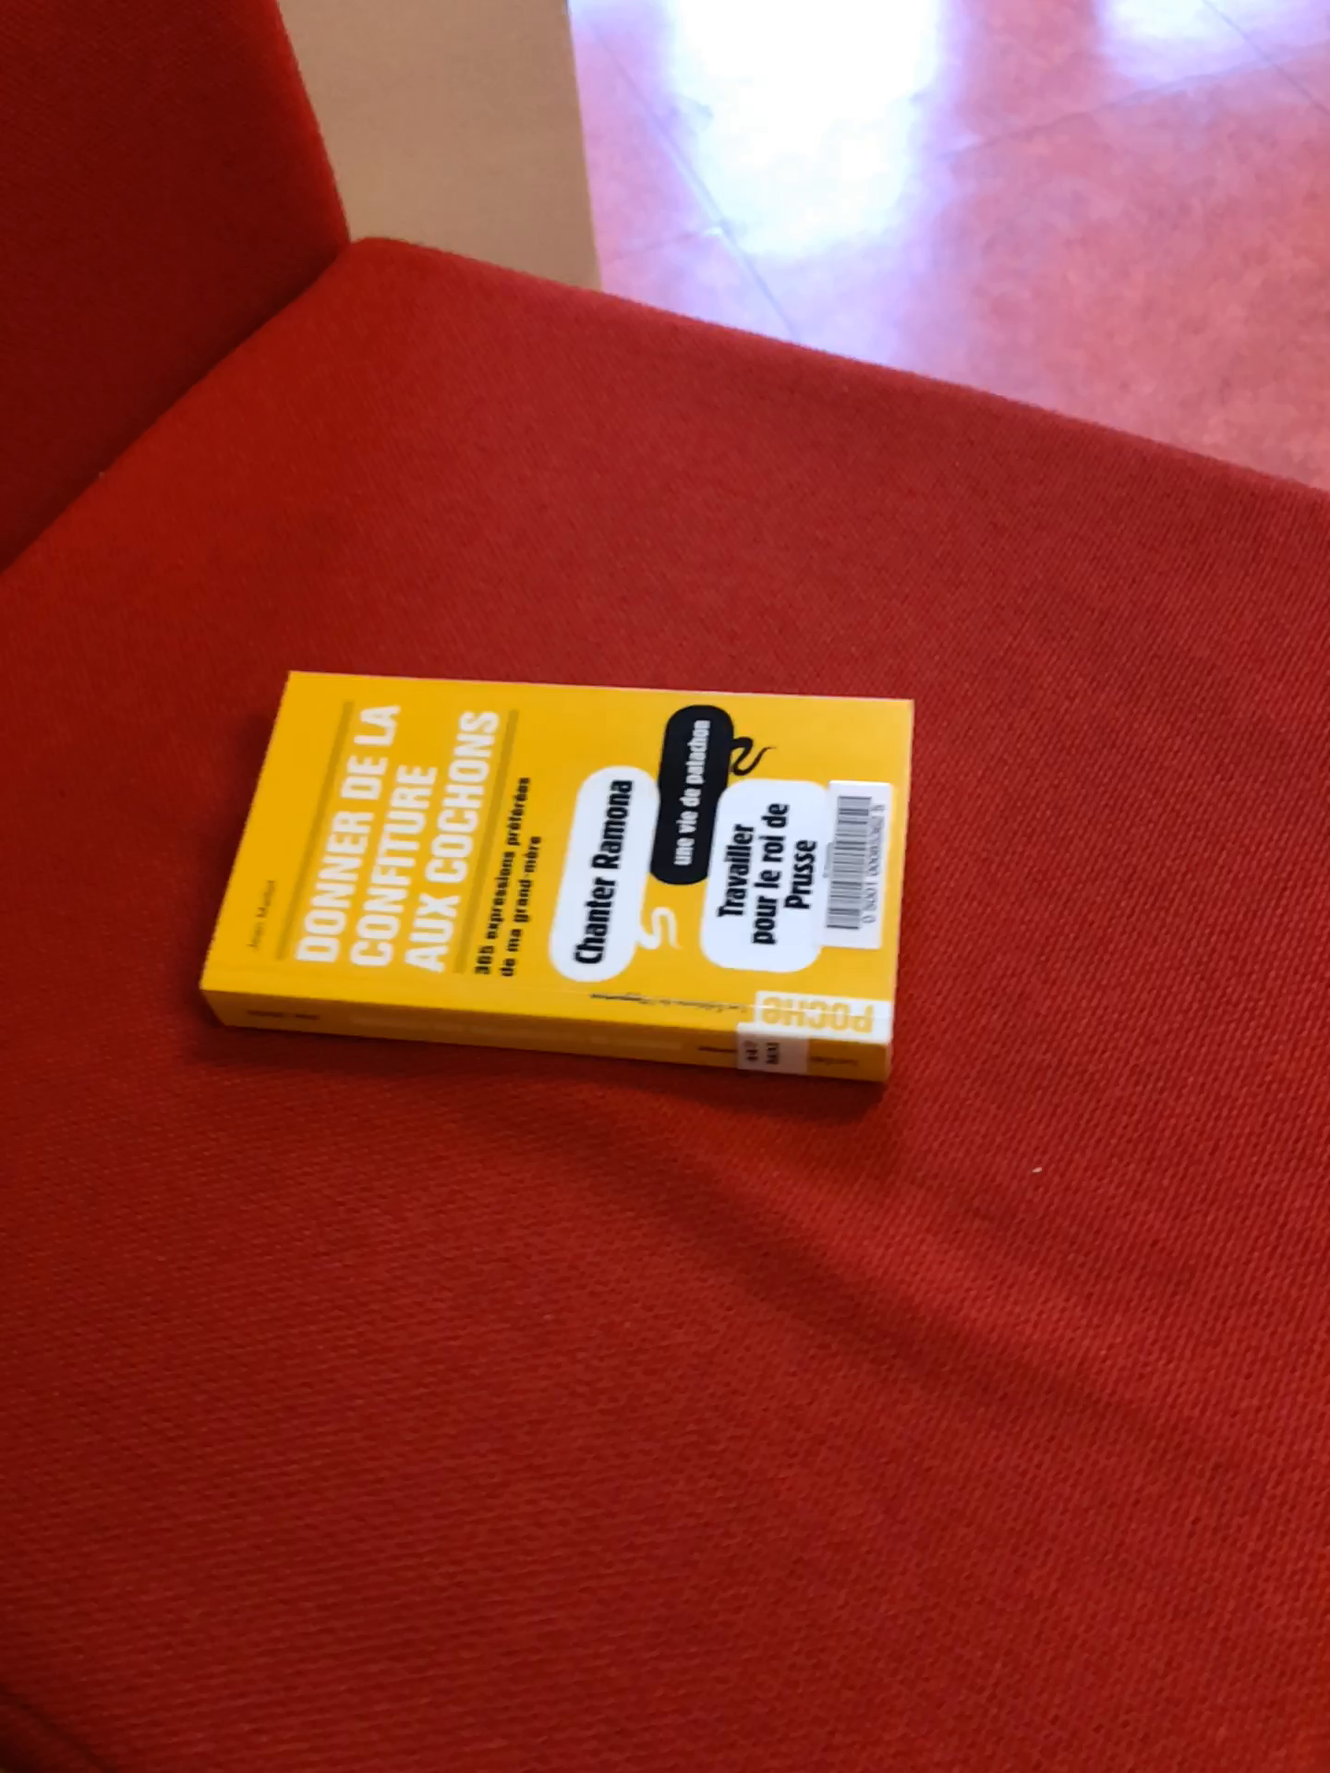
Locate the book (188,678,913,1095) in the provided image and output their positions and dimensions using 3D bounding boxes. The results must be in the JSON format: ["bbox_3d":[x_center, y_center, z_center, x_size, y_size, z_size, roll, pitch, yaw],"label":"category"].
[{"bbox_3d":[-0.025,-0.004,0.404,0.180,0.030,0.107,3,59,9],"label":"book"}]
